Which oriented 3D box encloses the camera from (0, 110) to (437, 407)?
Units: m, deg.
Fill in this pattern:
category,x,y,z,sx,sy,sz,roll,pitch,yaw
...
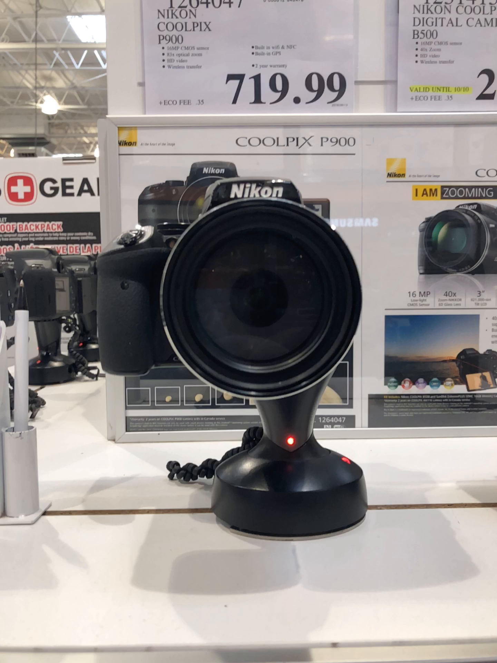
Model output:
category,x,y,z,sx,sy,sz,roll,pitch,yaw
camera,-0.011,-0.031,0.259,0.150,0.100,0.140,-1,5,0
